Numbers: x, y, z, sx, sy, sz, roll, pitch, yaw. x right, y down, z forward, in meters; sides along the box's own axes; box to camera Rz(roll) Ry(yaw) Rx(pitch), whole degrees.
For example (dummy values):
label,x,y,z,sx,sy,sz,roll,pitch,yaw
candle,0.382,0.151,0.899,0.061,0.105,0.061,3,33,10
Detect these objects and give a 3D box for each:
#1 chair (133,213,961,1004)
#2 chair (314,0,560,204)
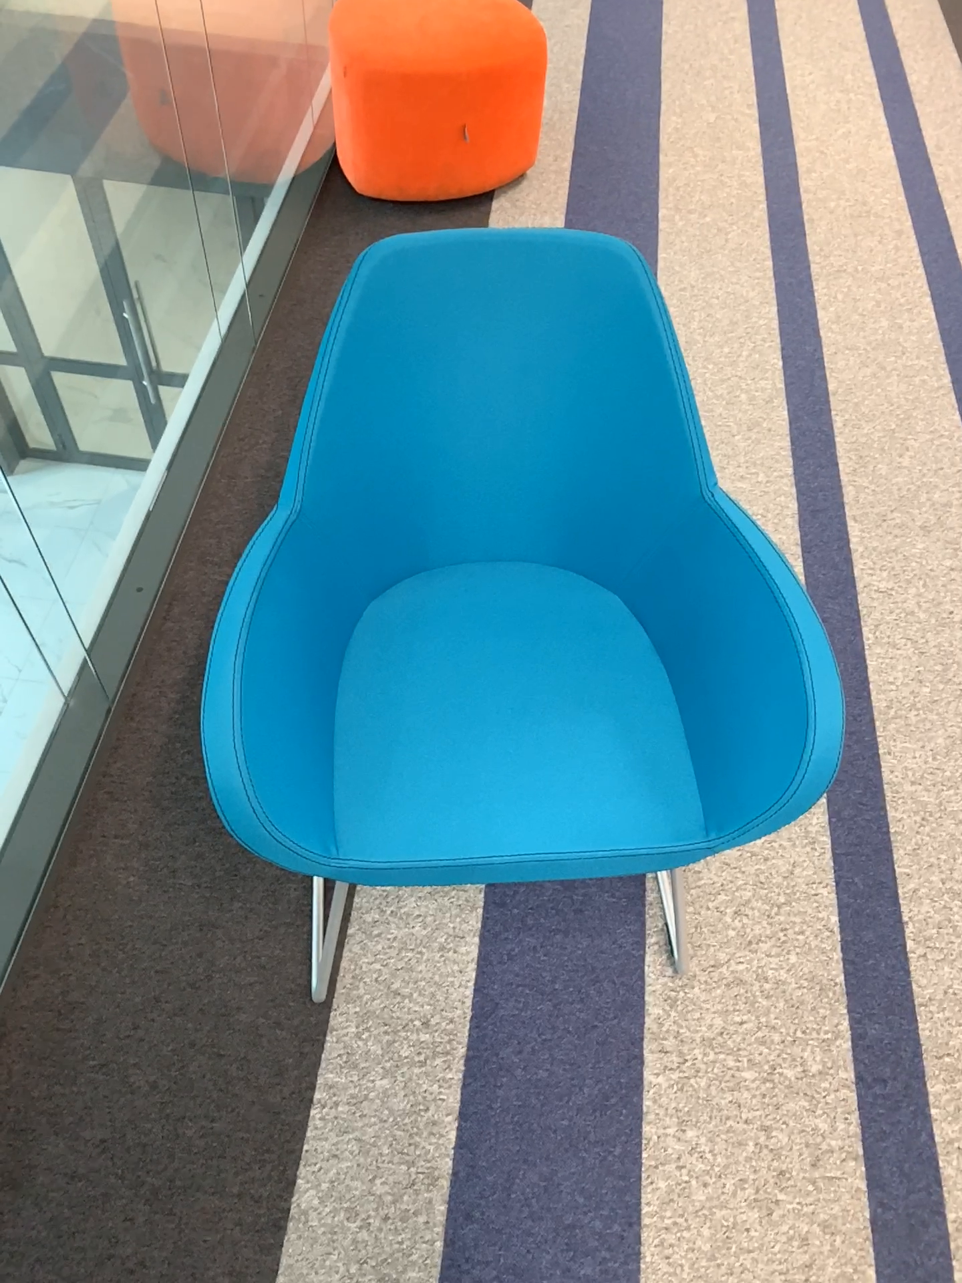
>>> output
label,x,y,z,sx,sy,sz,roll,pitch,yaw
chair,0.026,0.008,1.302,0.671,0.837,0.652,-1,54,-5
chair,-0.144,-1.668,2.908,0.640,0.397,0.652,-1,54,-5
